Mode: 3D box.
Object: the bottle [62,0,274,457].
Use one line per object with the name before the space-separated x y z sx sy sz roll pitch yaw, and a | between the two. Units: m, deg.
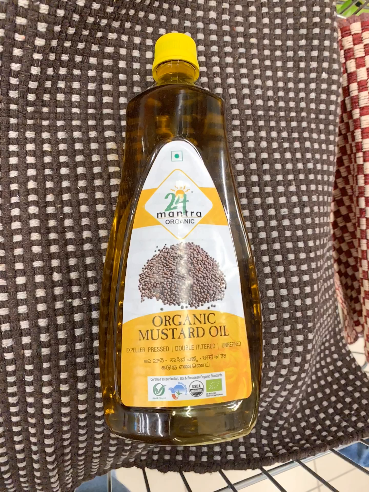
bottle | -0.010 -0.017 0.232 0.110 0.060 0.250 -1 90 -6
